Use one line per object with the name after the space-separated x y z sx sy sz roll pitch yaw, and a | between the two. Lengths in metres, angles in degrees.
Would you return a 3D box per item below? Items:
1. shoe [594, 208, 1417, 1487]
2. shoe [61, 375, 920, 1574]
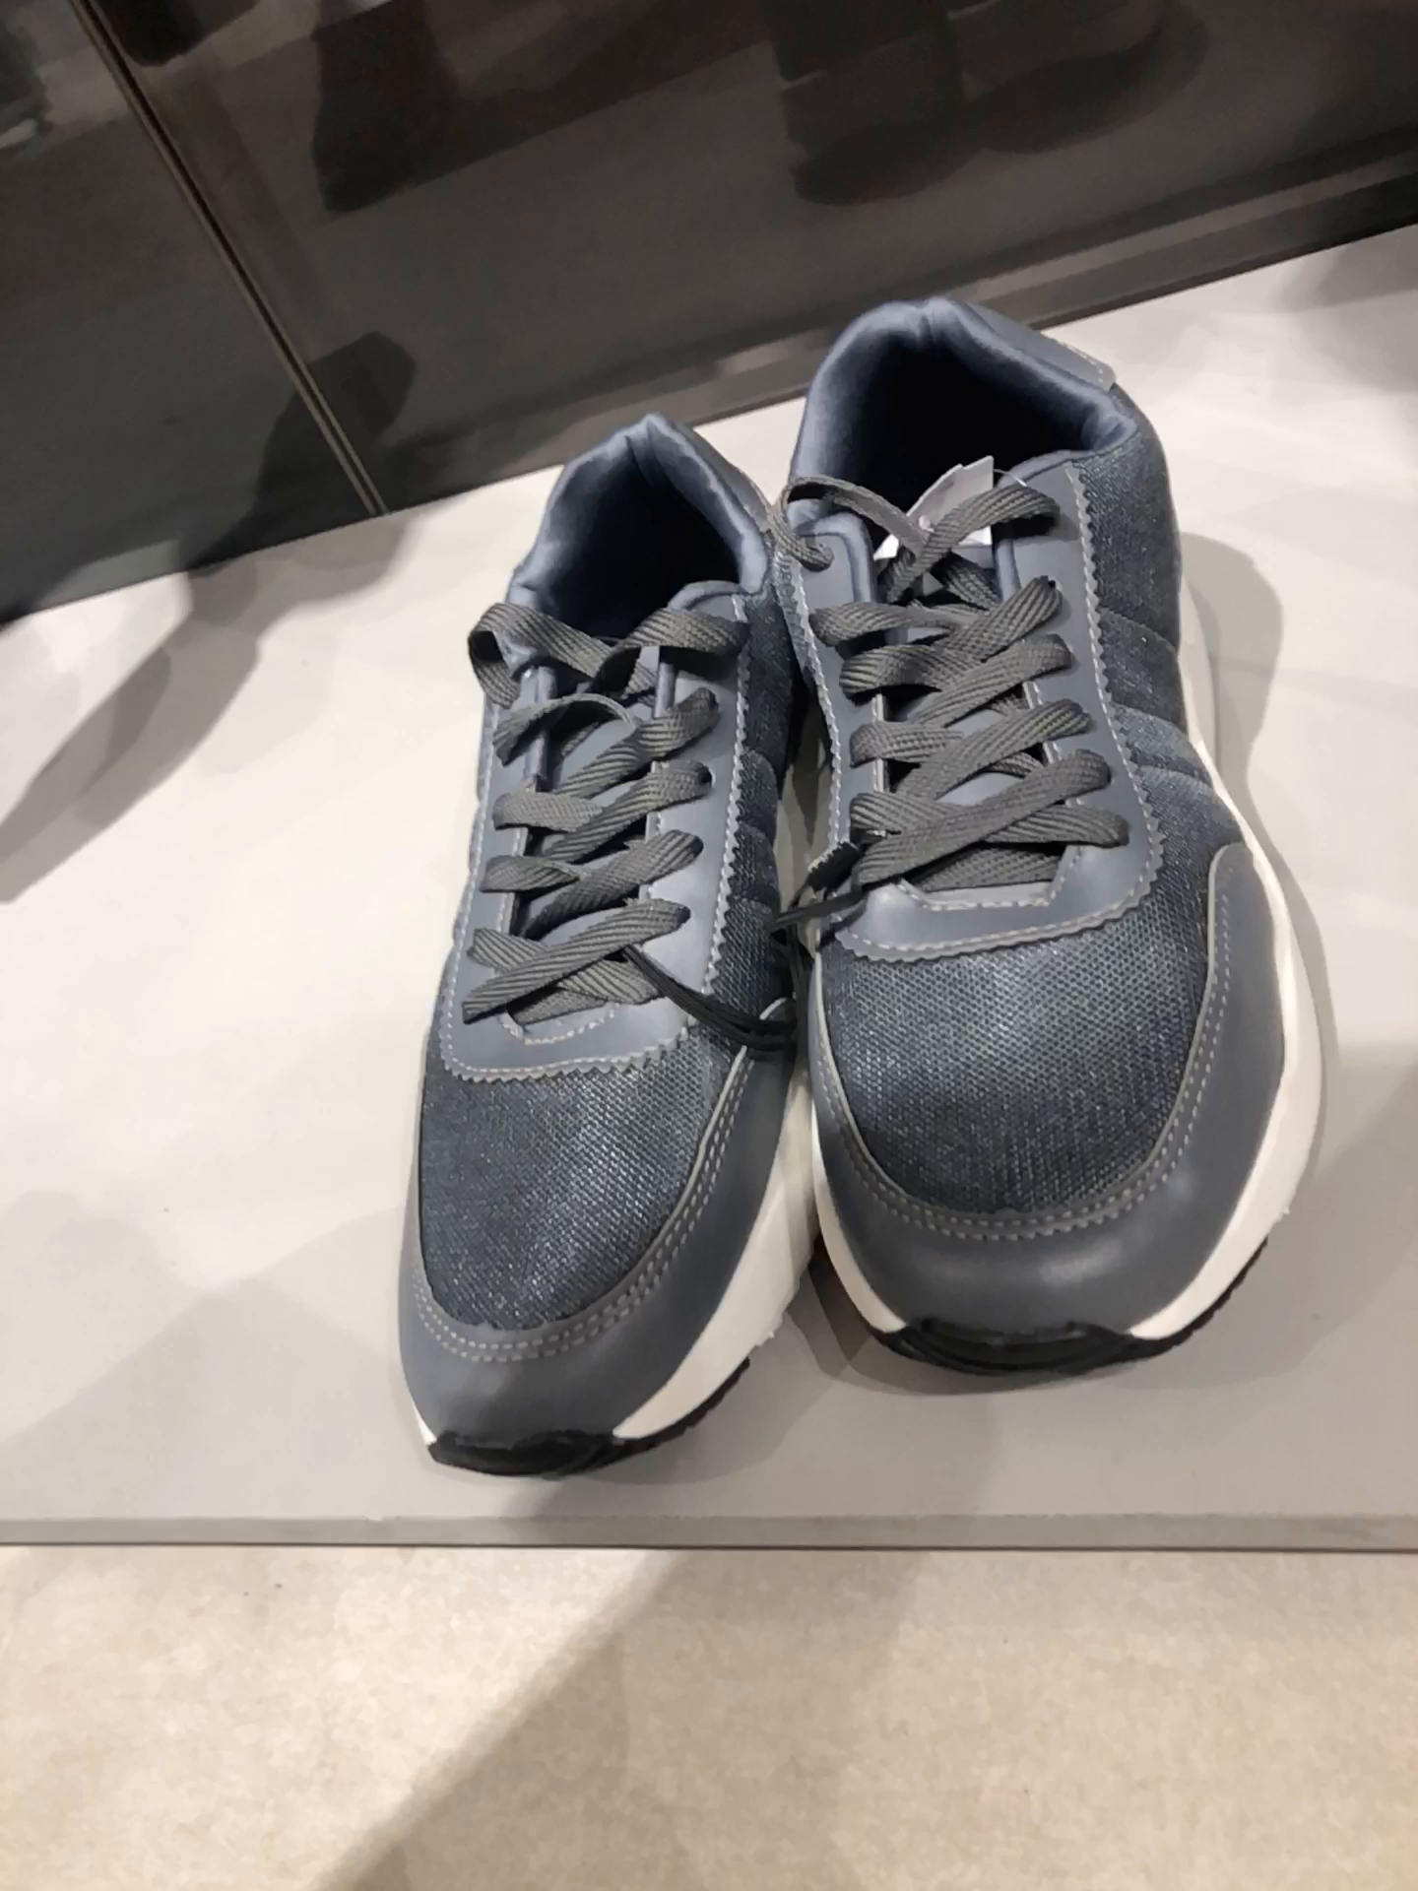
0.066 -0.040 0.347 0.110 0.099 0.282 -11 44 19 | shoe
-0.024 -0.009 0.378 0.110 0.099 0.282 -9 44 21 | shoe
